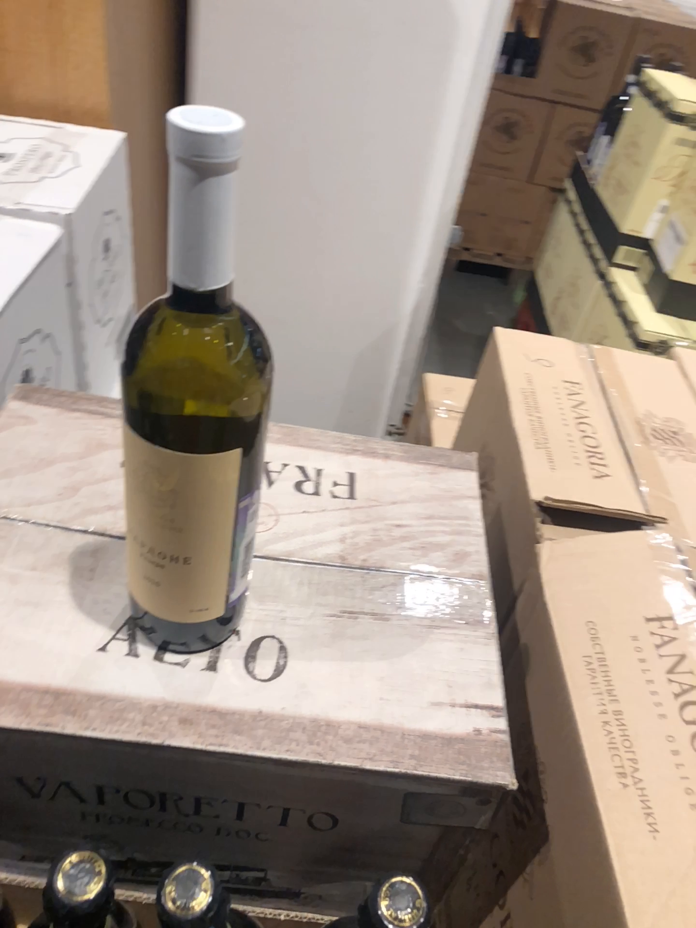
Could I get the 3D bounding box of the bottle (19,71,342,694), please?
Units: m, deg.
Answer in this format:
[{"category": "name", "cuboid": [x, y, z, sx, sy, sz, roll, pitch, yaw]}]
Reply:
[{"category": "bottle", "cuboid": [-0.085, -0.020, 0.387, 0.090, 0.298, 0.081, 27, 42, 17]}]
